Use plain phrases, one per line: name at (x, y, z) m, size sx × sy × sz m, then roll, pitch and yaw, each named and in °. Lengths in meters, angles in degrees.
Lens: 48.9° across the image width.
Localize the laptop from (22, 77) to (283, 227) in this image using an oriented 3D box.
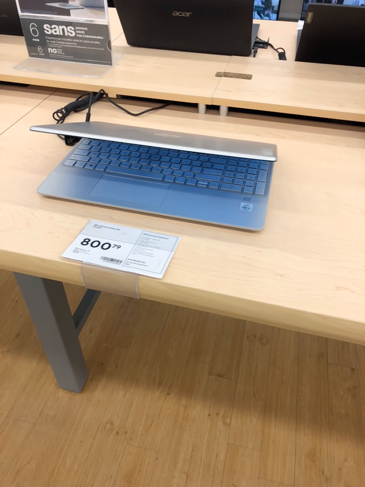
laptop at (-0.029, -0.159, 0.635) m, size 0.340 × 0.086 × 0.225 m, roll 10°, pitch 45°, yaw 9°
